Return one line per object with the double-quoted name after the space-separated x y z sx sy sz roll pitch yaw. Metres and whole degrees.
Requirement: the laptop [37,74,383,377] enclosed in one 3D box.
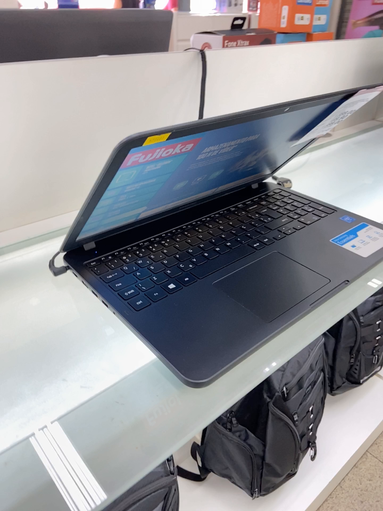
0.071 -0.088 0.454 0.373 0.173 0.246 -24 39 -34 "laptop"
